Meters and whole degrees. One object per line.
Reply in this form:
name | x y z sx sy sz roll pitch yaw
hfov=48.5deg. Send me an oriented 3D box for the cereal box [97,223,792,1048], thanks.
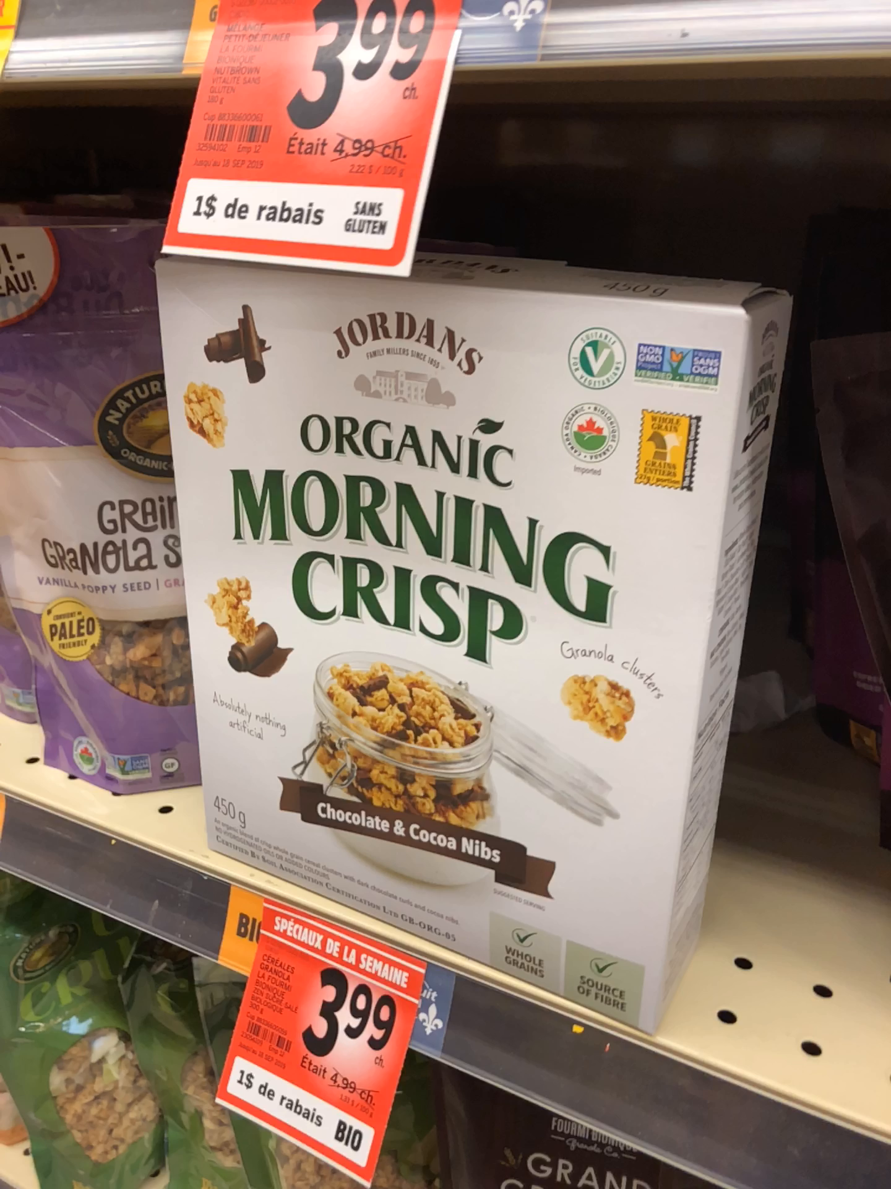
cereal box | -0.009 0.004 0.299 0.180 0.209 0.050 13 26 26
